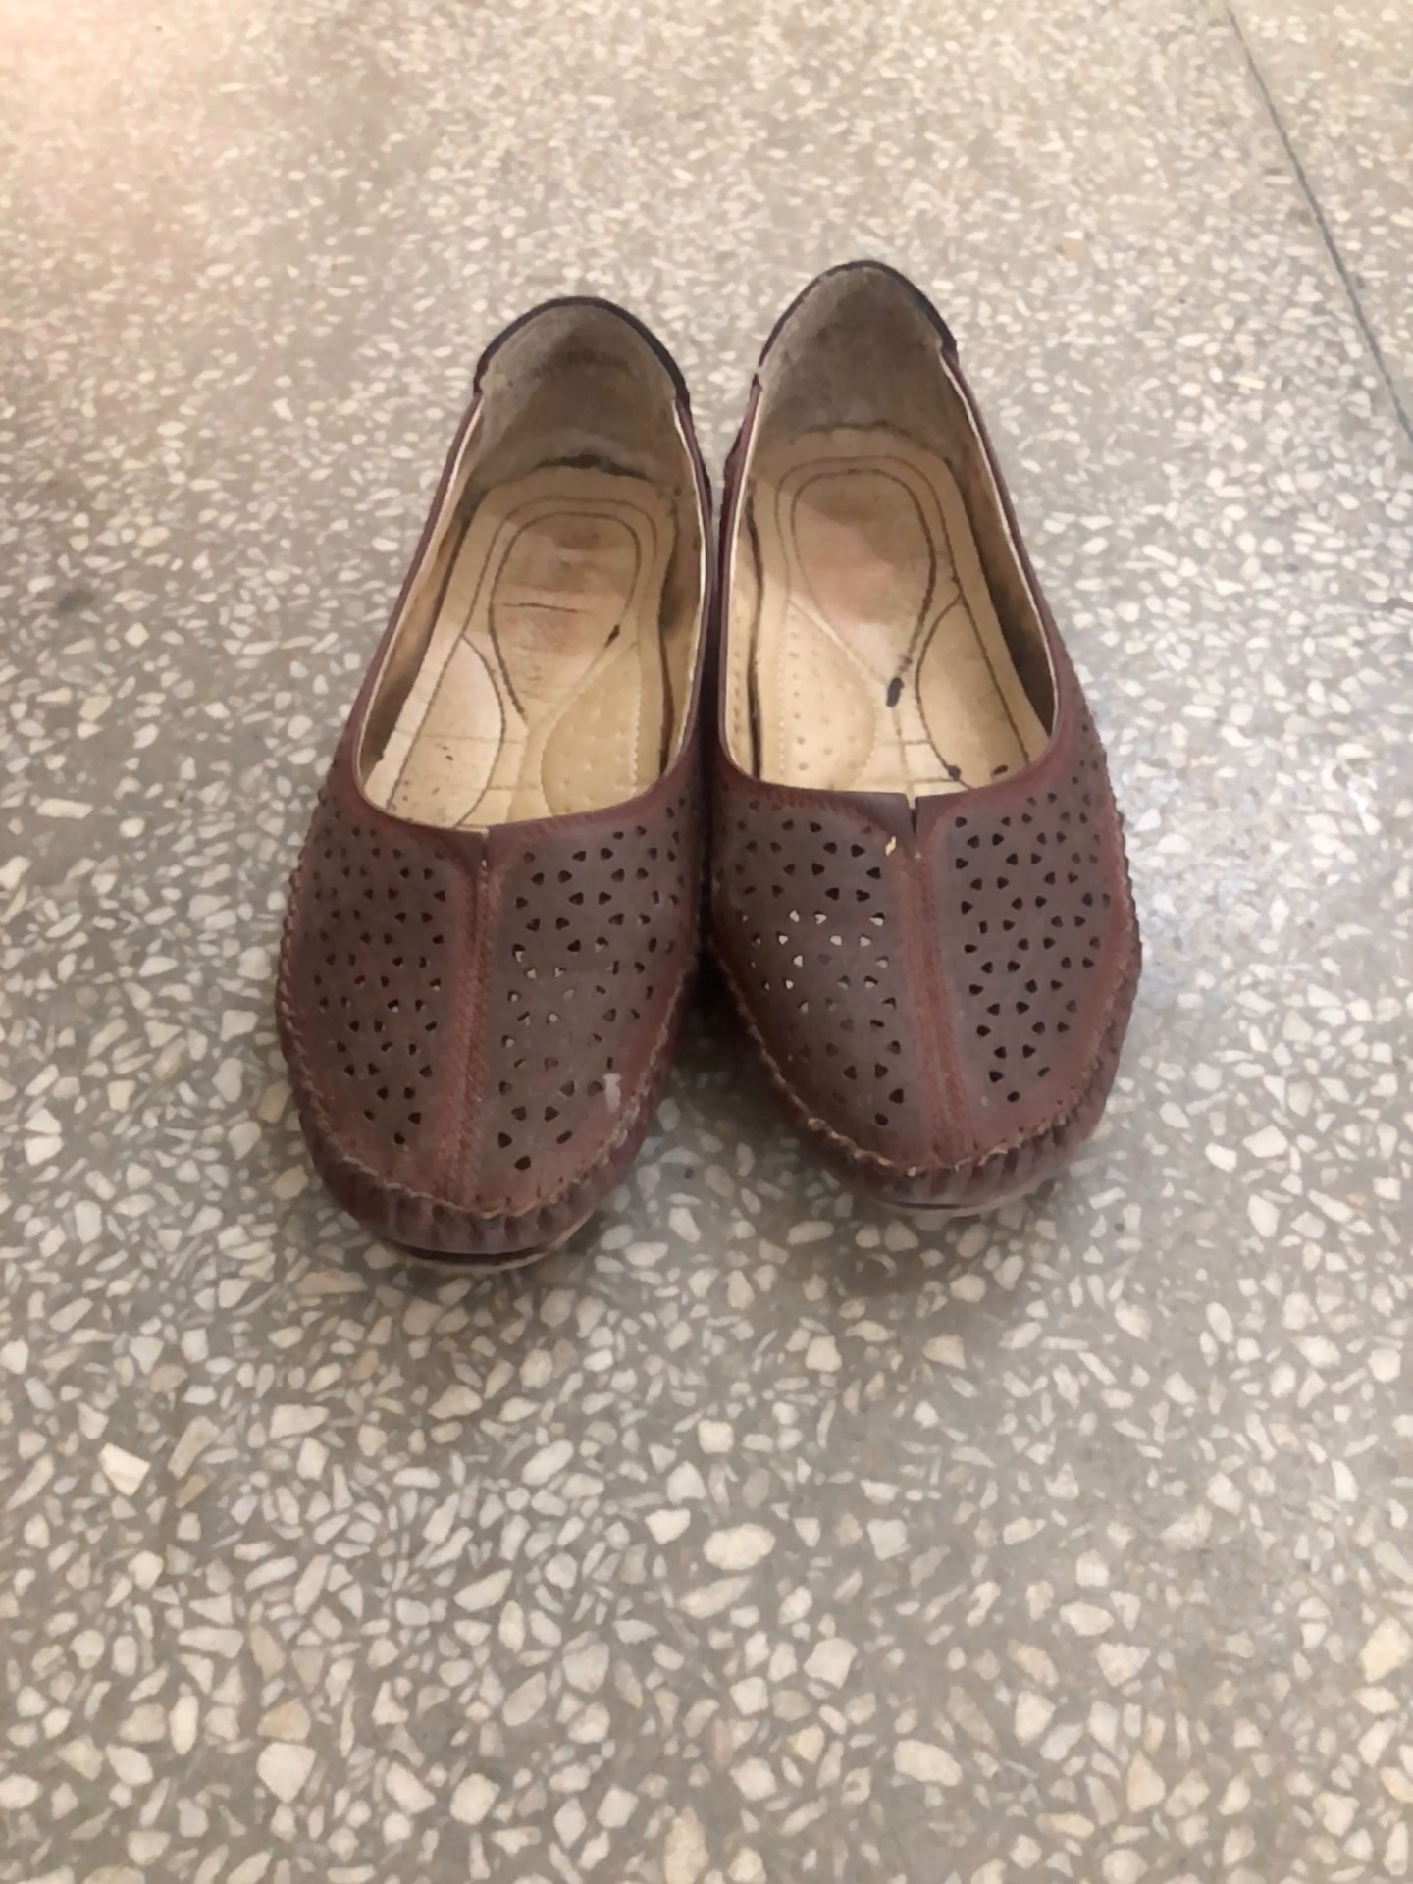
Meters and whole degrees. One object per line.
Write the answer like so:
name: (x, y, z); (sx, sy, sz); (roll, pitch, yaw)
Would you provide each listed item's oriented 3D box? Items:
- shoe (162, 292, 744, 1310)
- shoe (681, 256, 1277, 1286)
shoe: (-0.039, -0.049, 0.354); (0.090, 0.060, 0.251); (1, 53, 2)
shoe: (0.043, -0.055, 0.349); (0.090, 0.060, 0.251); (-2, 53, 0)
